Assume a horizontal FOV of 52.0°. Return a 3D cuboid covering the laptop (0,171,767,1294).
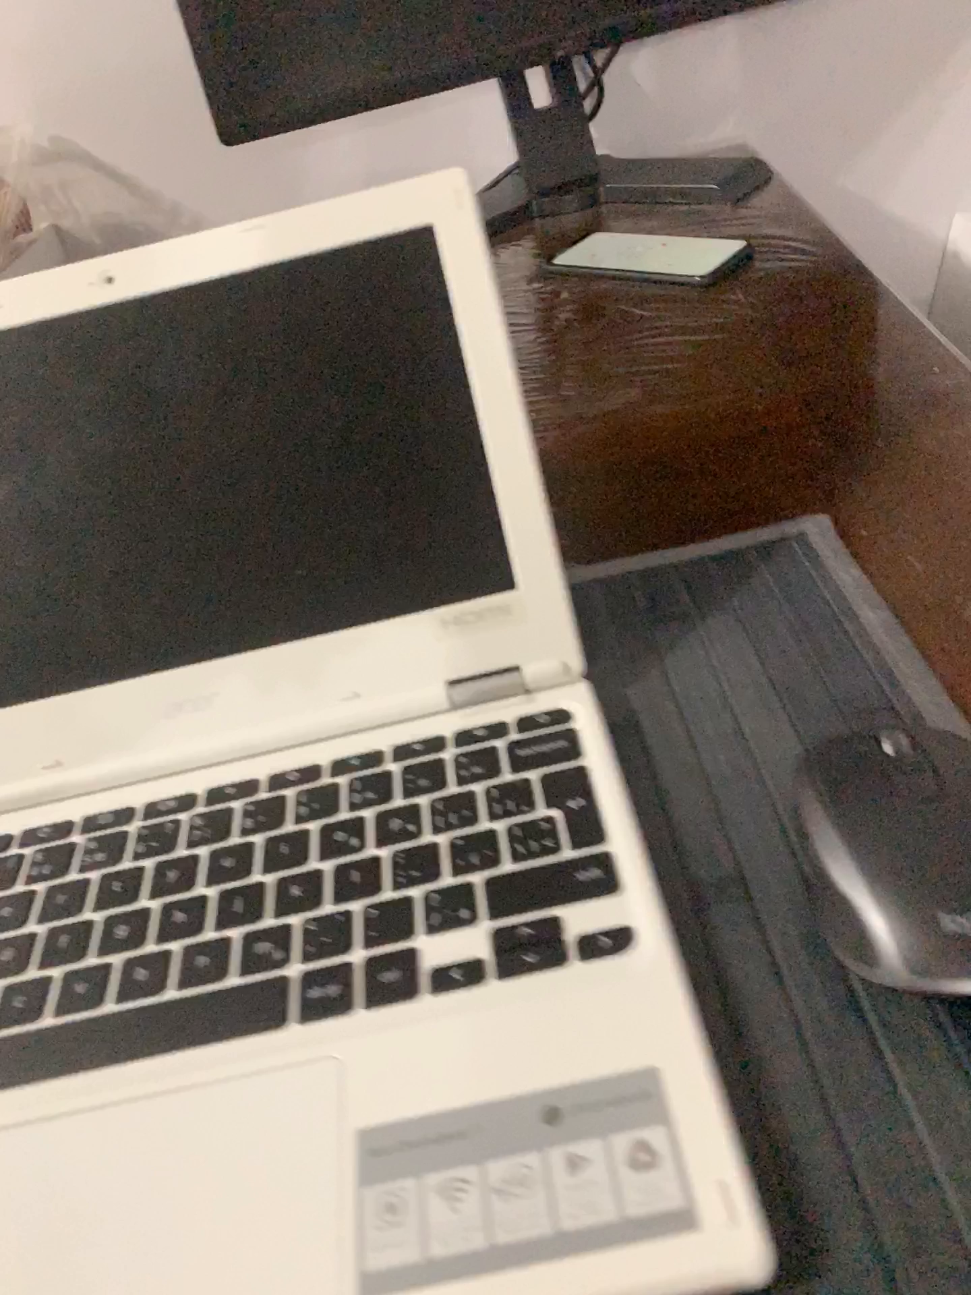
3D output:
[{"bbox_3d":[-0.113,0.005,0.295,0.284,0.142,0.329,-13,38,2],"label":"laptop"}]
